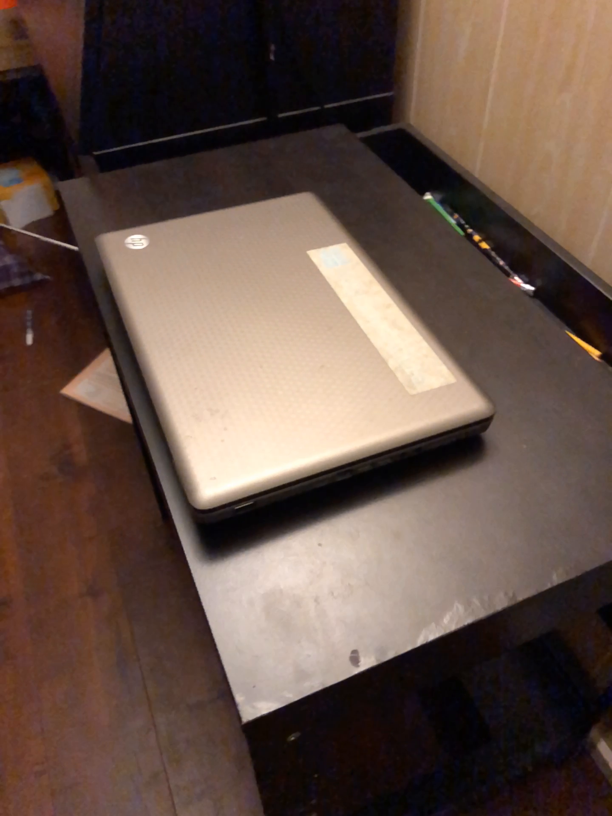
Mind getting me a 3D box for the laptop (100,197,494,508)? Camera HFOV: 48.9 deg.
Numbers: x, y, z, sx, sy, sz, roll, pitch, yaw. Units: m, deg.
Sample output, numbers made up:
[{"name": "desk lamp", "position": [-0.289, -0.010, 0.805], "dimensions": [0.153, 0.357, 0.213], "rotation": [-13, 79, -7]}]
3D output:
[{"name": "laptop", "position": [-0.034, -0.084, 0.603], "dimensions": [0.237, 0.001, 0.359], "rotation": [-17, 48, -14]}]
